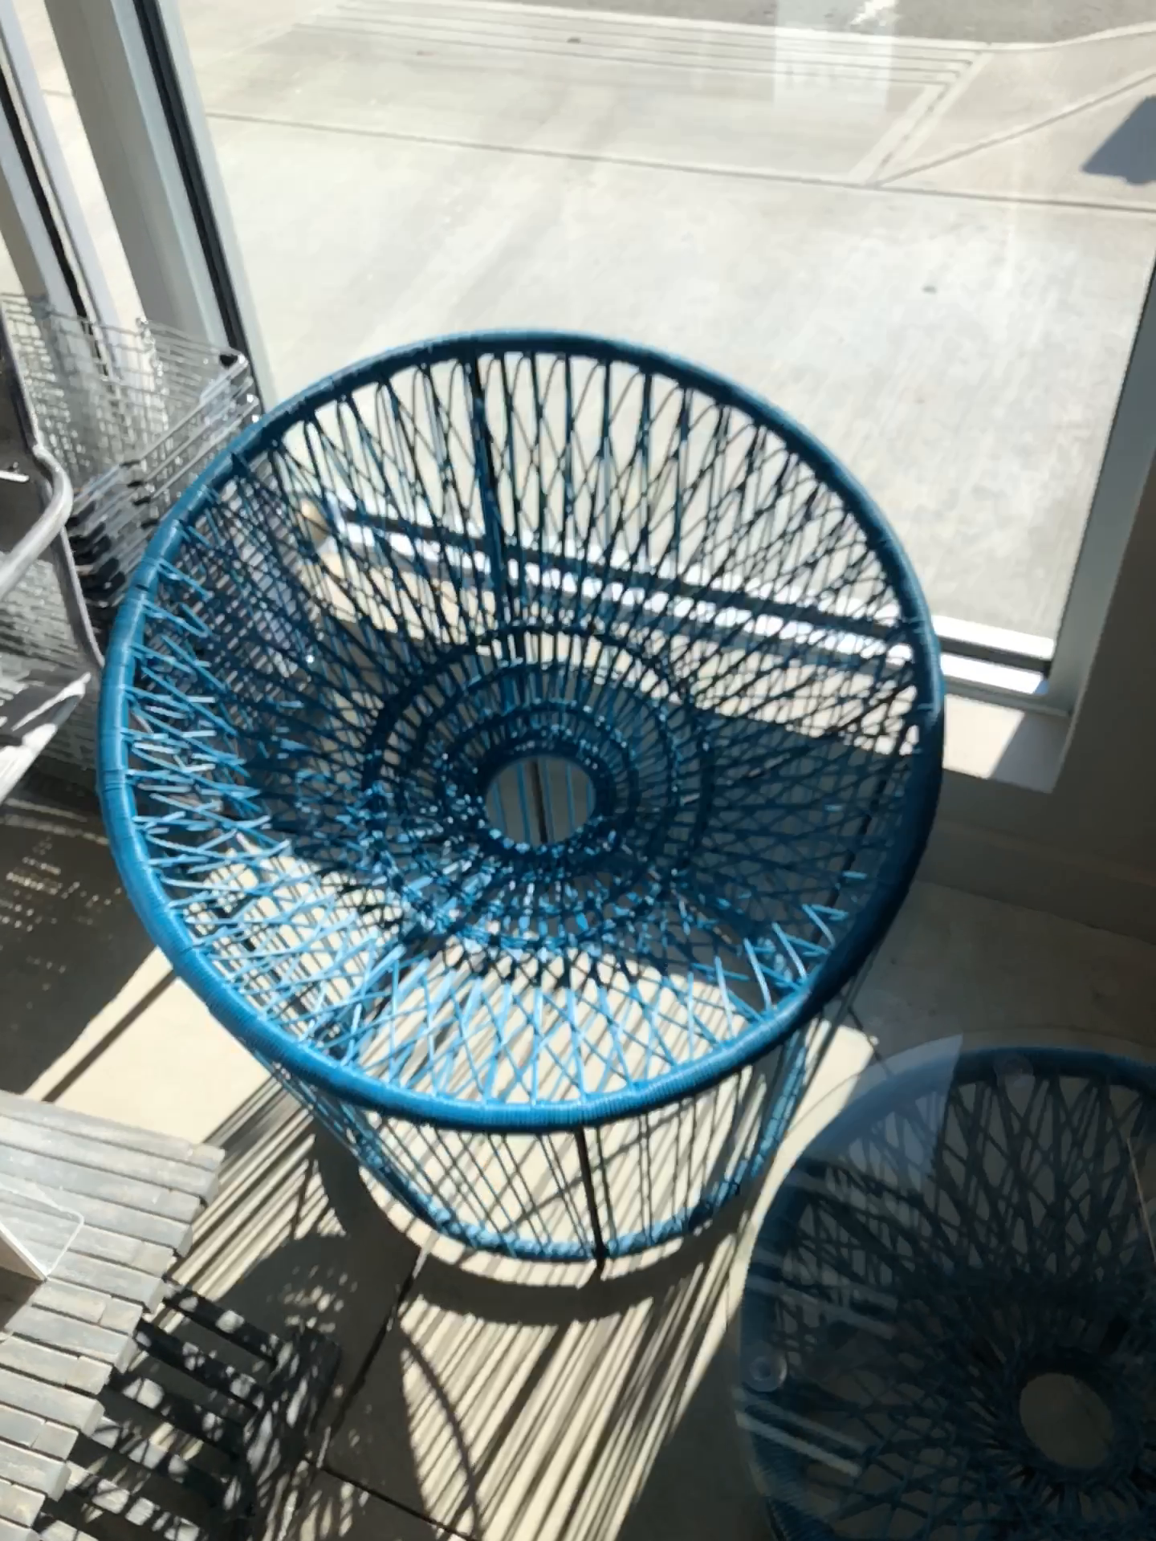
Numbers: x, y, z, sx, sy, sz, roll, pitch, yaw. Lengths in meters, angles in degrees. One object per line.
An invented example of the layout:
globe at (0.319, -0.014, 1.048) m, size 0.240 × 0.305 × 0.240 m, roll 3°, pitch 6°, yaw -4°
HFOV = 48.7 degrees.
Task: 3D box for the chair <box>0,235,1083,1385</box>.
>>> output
chair at (-0.041, 0.087, 1.414) m, size 0.720 × 0.994 × 0.664 m, roll -10°, pitch 46°, yaw -4°
